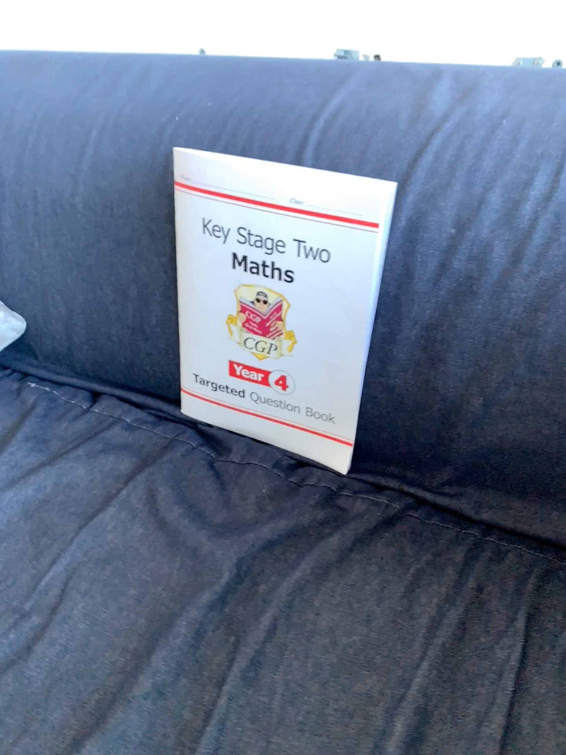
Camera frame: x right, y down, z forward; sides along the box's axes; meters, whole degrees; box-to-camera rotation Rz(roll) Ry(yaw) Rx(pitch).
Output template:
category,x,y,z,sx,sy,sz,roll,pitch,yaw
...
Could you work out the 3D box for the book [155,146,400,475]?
category,x,y,z,sx,sy,sz,roll,pitch,yaw
book,-0.021,-0.063,0.548,0.221,0.266,0.030,17,28,24
